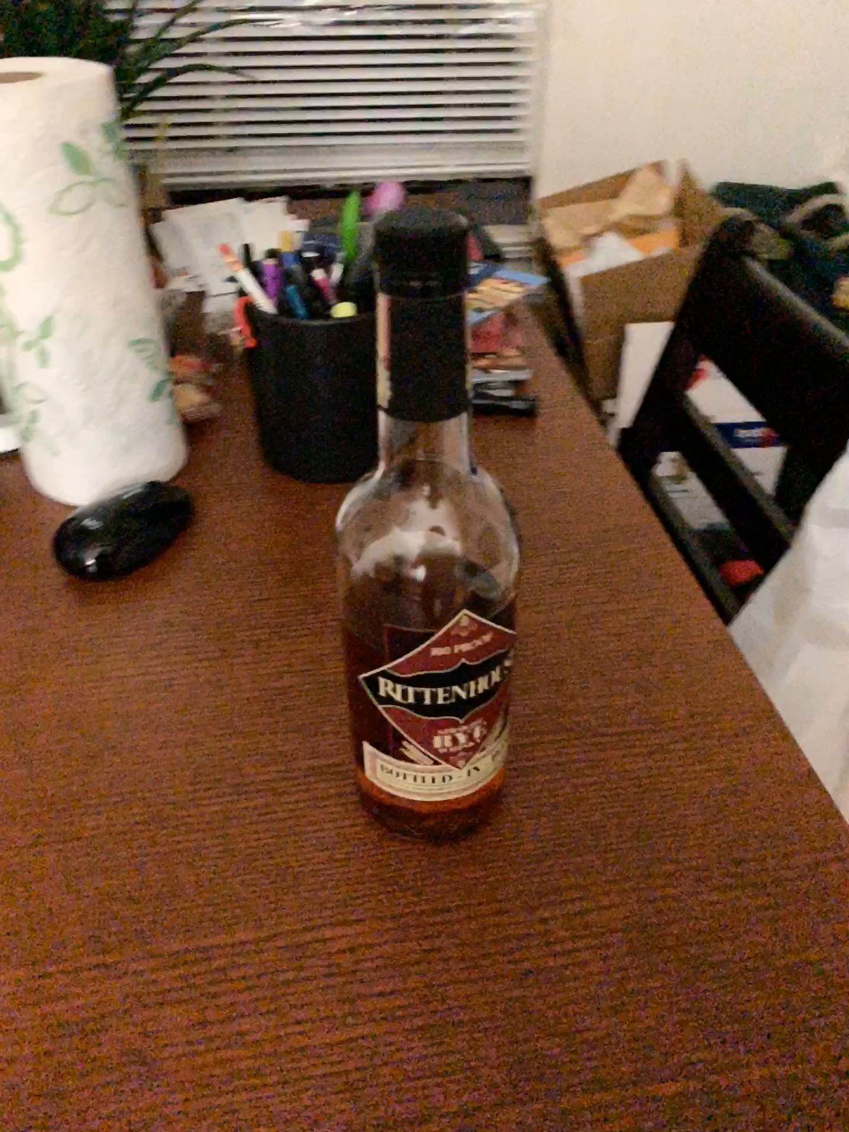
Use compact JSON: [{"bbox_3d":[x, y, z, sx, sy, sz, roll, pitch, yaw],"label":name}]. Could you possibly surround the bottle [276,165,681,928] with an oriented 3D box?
[{"bbox_3d":[0.012,0.011,0.344,0.090,0.288,0.091,0,38,0],"label":"bottle"}]
